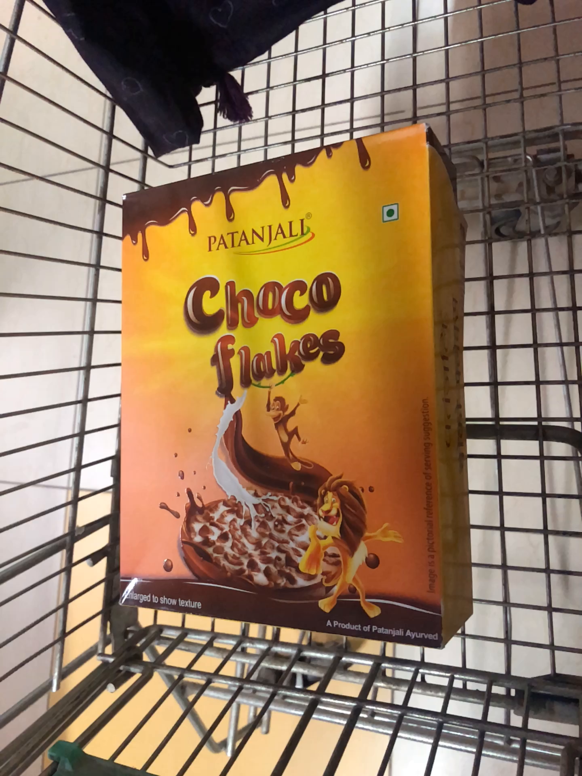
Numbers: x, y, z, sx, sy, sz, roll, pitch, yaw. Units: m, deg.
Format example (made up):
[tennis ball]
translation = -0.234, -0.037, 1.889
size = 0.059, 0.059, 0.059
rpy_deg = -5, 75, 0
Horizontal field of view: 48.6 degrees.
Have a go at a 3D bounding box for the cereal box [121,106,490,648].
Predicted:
[cereal box]
translation = 0.009, -0.001, 0.360
size = 0.170, 0.110, 0.230
rpy_deg = -3, 85, 27
